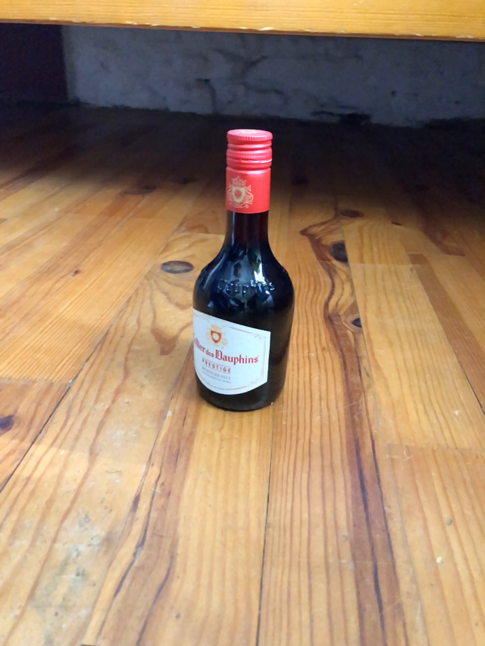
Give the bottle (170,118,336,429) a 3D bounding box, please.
[{"bbox_3d":[0.002,-0.031,0.330,0.070,0.169,0.060,18,30,25],"label":"bottle"}]
